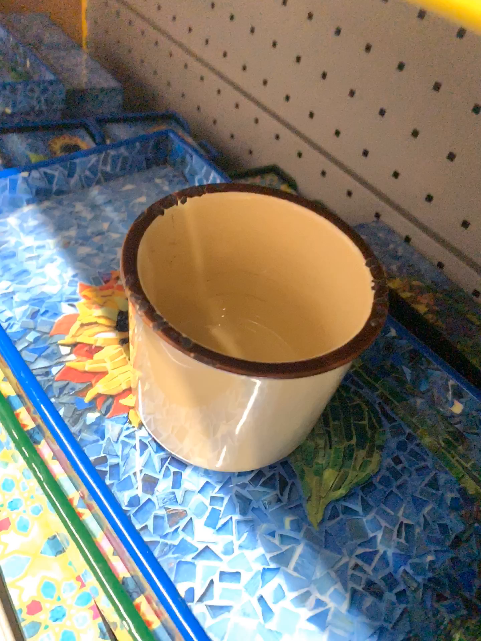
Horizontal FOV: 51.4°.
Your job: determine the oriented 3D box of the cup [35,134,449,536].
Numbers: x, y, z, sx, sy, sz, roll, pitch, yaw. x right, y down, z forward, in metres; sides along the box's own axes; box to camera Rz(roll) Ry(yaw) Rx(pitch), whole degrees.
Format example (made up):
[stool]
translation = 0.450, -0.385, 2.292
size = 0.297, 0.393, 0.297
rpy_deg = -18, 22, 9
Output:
[cup]
translation = -0.007, -0.004, 0.188
size = 0.090, 0.070, 0.110
rpy_deg = -22, 57, -31
